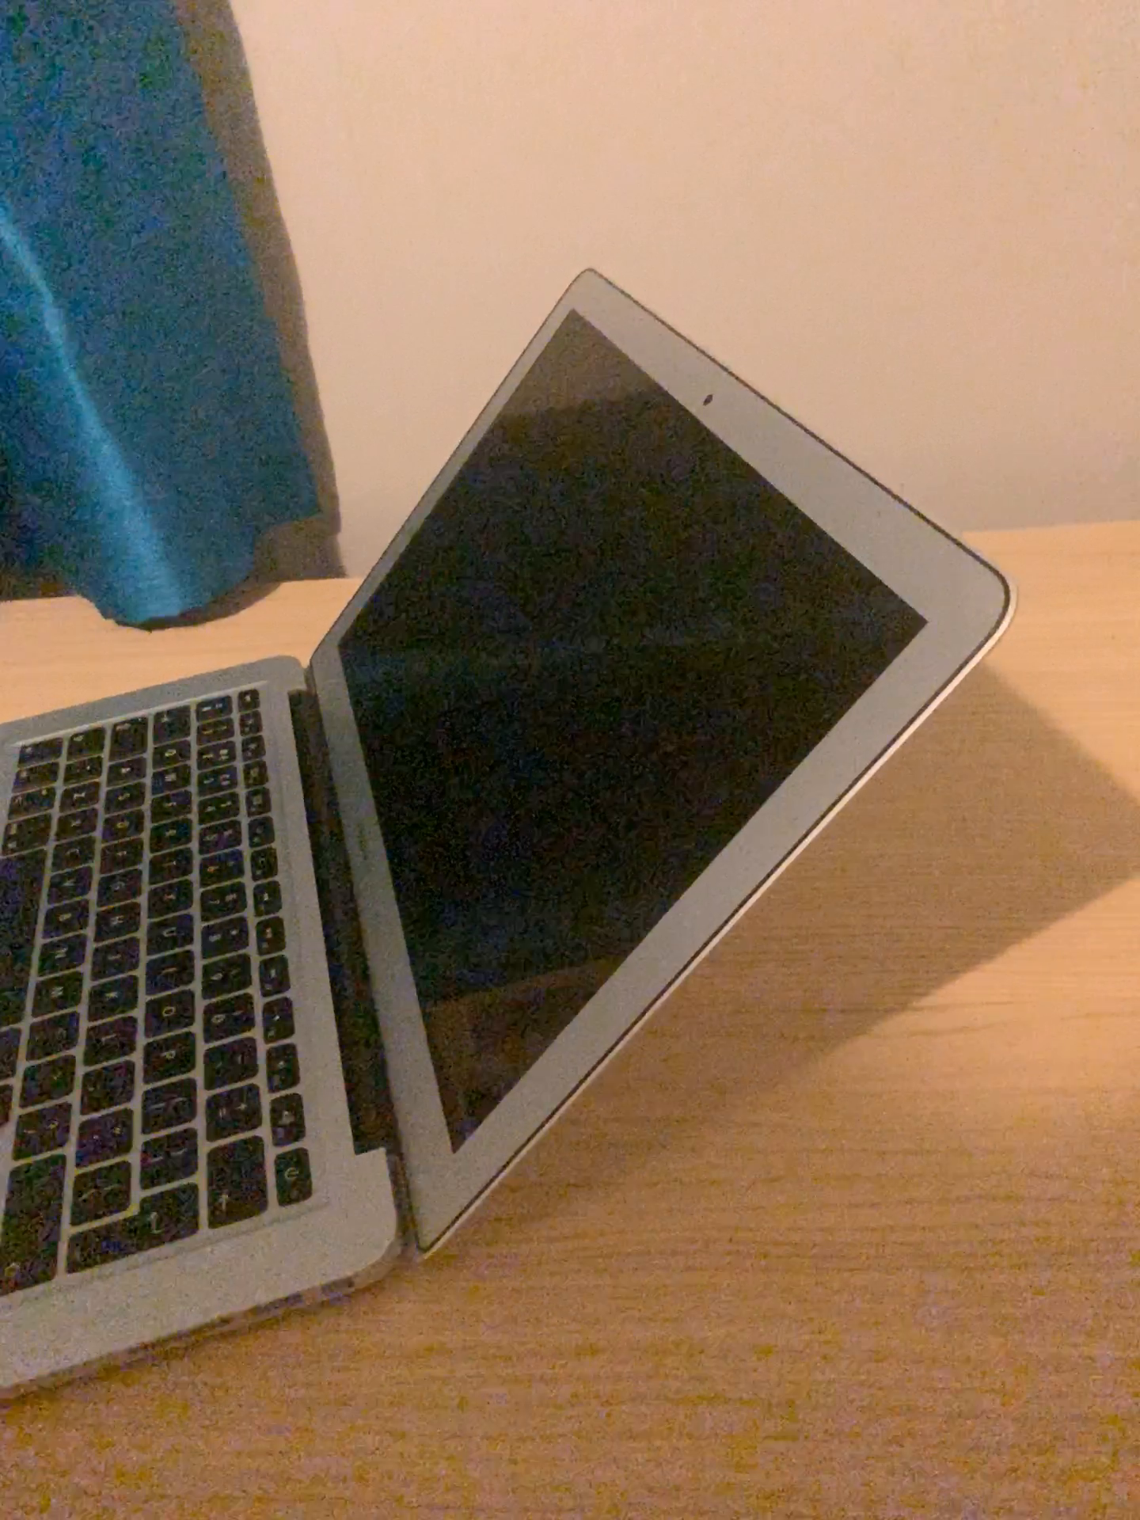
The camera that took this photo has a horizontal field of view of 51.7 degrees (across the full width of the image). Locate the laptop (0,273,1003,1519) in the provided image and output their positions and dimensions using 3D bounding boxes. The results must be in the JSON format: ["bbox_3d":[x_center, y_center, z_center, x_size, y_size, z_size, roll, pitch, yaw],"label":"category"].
[{"bbox_3d":[-0.122,-0.012,0.366,0.368,0.144,0.304,-14,36,-10],"label":"laptop"}]
